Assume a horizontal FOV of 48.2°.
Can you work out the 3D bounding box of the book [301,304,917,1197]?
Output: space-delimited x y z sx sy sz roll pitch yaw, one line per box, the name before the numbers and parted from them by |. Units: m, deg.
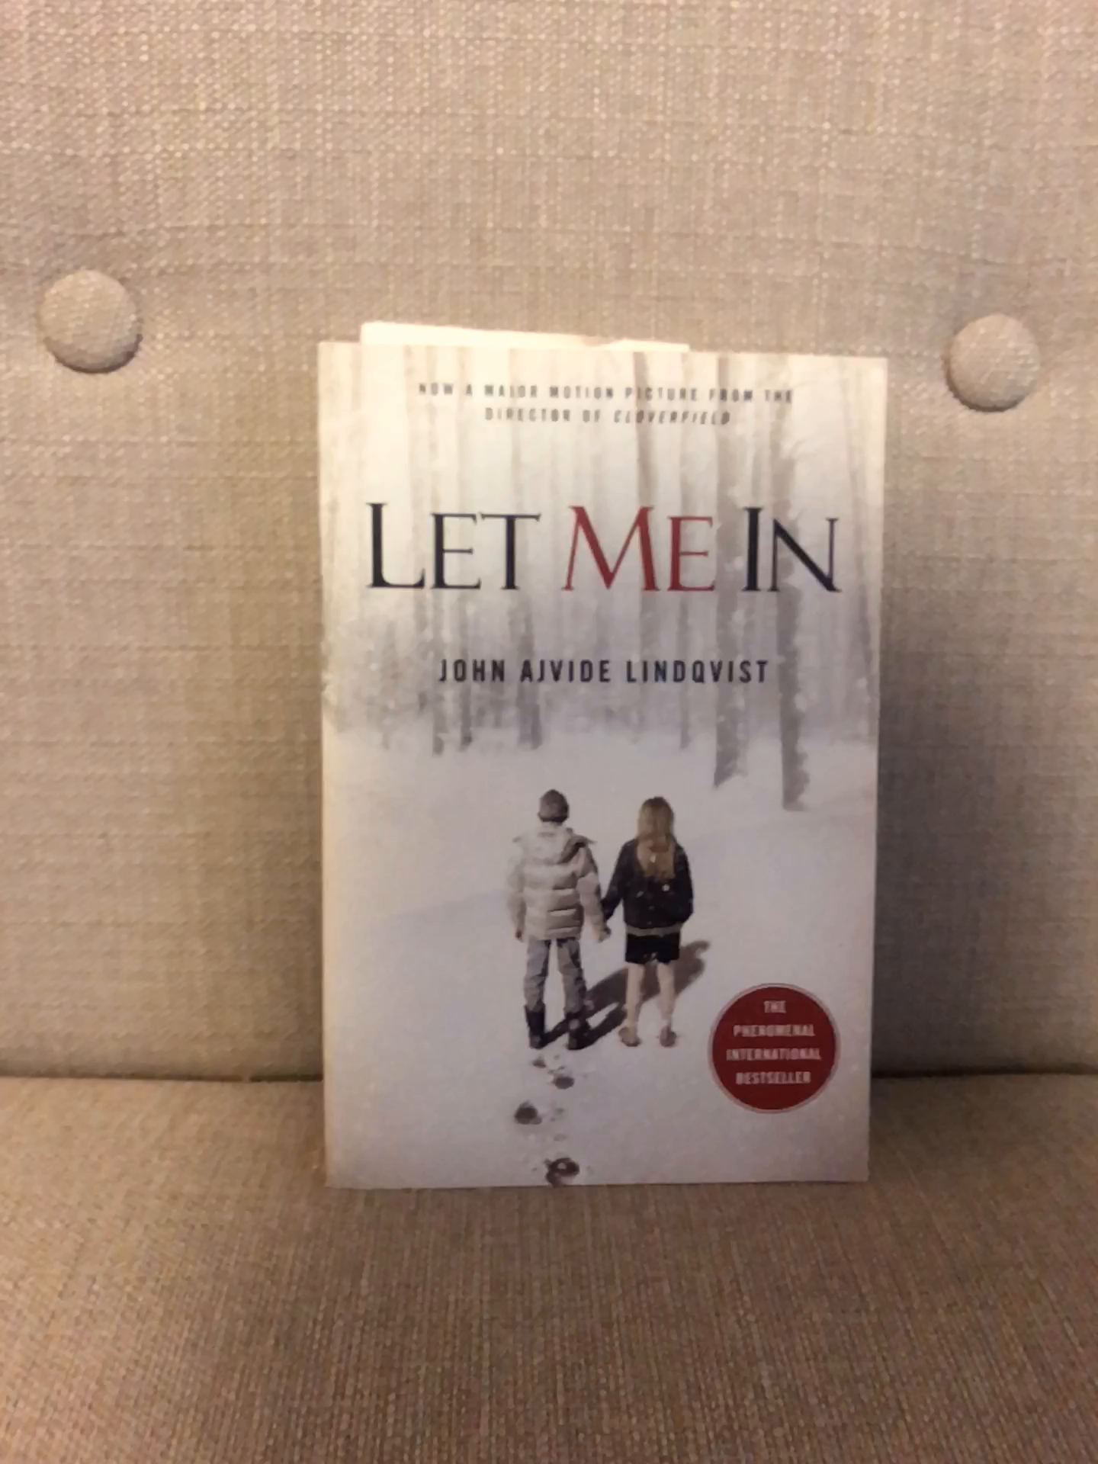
book | 0.013 0.006 0.322 0.147 0.216 0.043 1 3 -3
